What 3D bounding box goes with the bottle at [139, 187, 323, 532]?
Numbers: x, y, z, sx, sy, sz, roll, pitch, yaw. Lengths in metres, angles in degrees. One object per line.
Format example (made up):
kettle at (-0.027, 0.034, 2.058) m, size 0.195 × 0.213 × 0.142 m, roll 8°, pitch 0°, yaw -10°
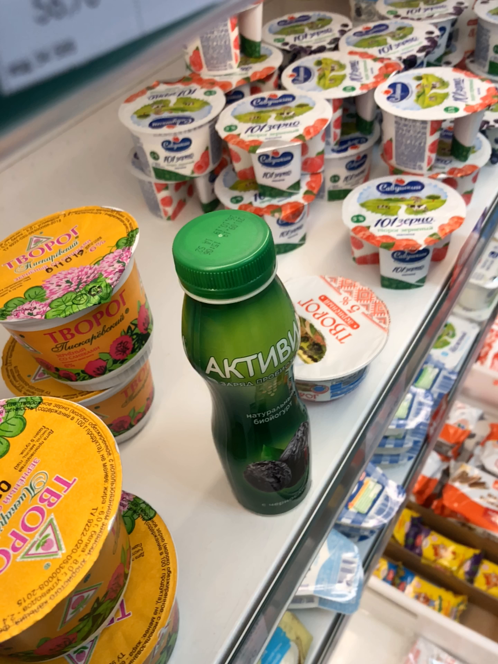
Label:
bottle at (0.000, 0.028, 0.280) m, size 0.050 × 0.185 × 0.054 m, roll -4°, pitch 47°, yaw 5°
